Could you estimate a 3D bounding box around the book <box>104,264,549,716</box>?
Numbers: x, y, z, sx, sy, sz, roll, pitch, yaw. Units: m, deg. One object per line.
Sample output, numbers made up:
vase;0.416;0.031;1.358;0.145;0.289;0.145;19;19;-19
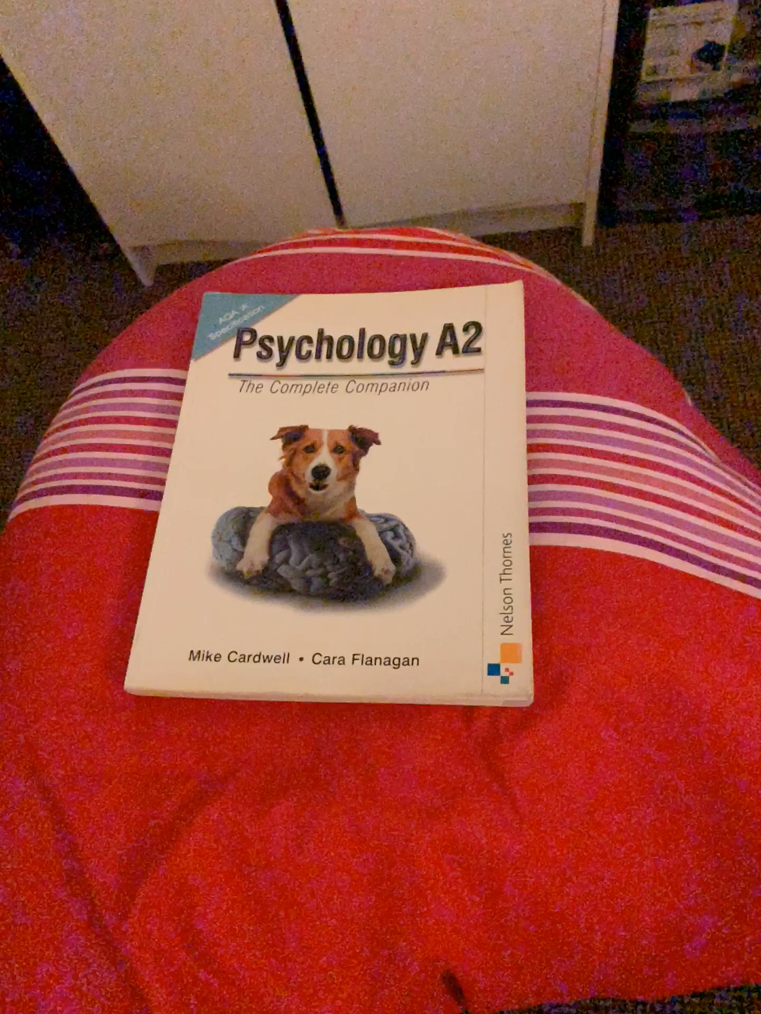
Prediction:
book;-0.022;-0.023;0.495;0.240;0.040;0.291;-1;62;10
